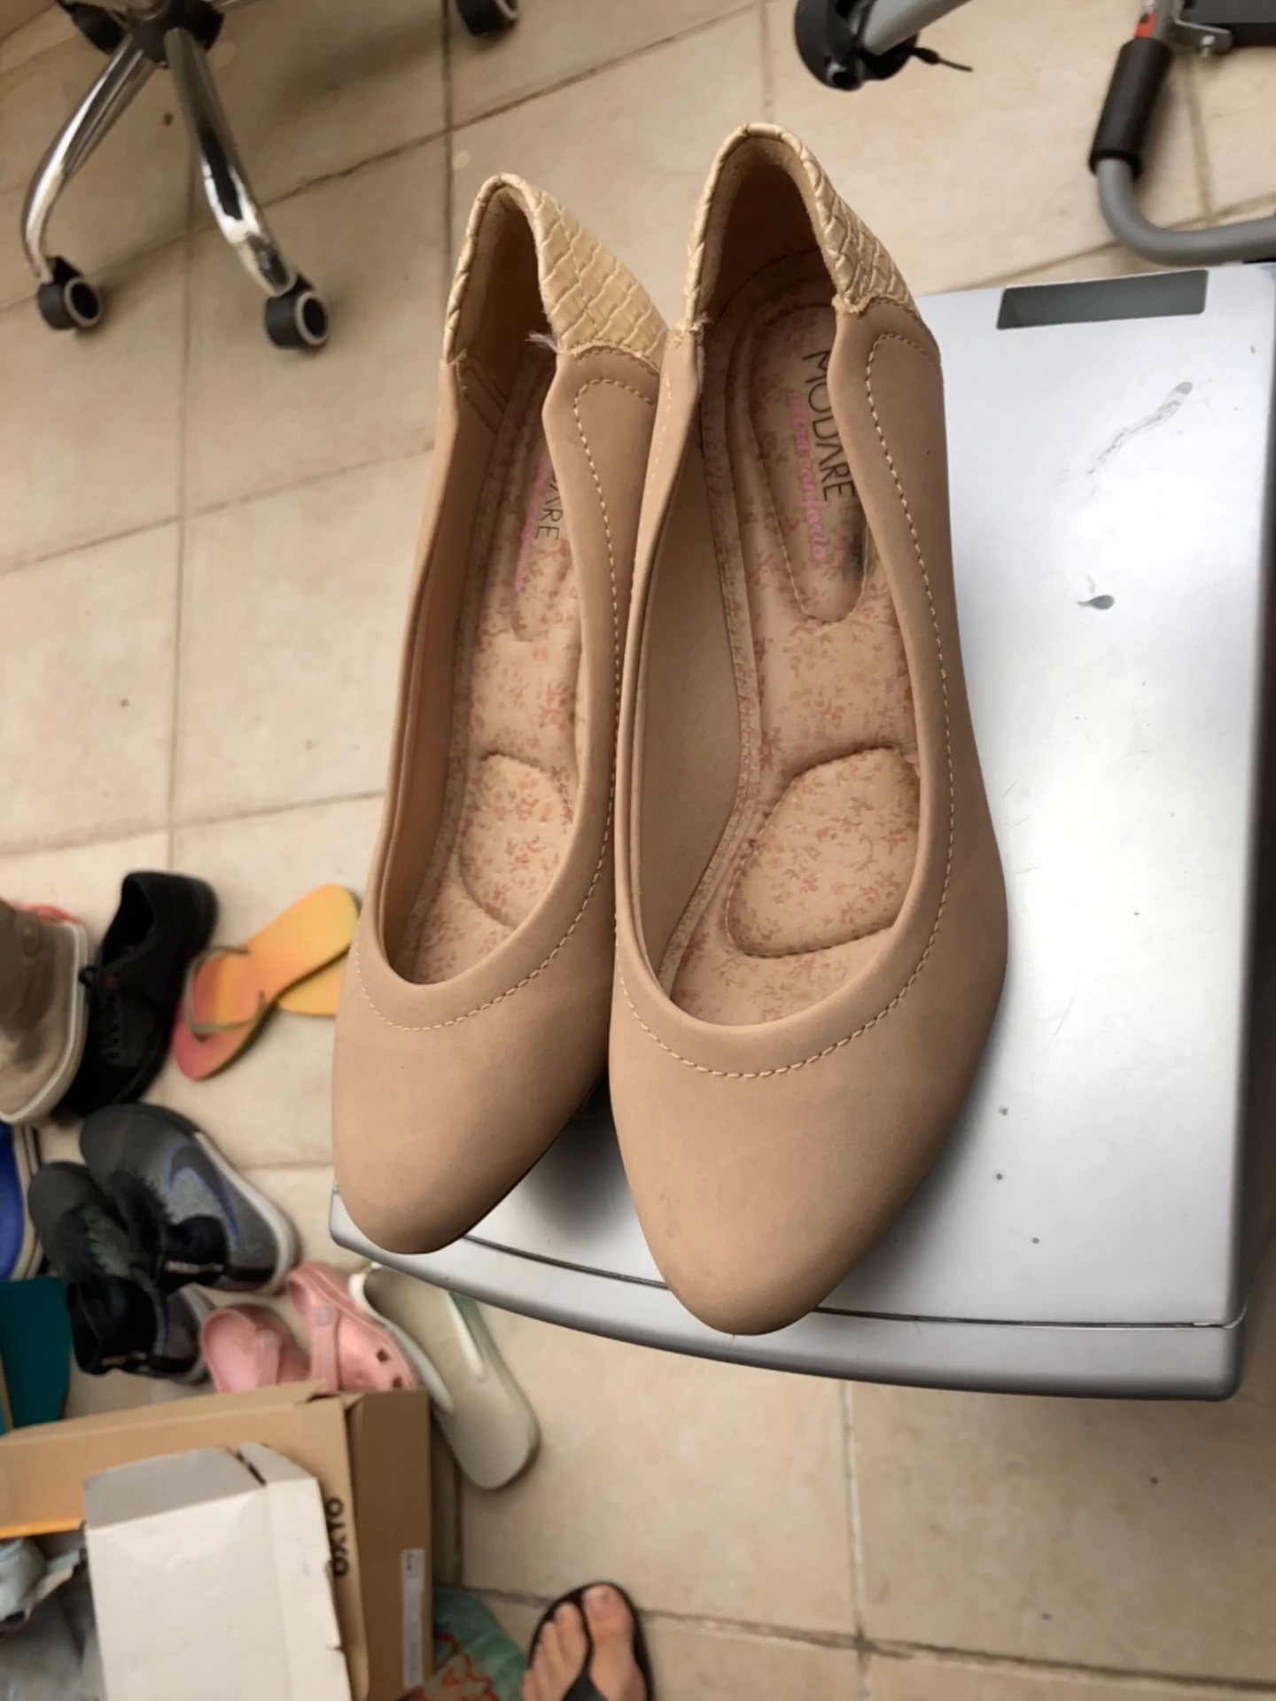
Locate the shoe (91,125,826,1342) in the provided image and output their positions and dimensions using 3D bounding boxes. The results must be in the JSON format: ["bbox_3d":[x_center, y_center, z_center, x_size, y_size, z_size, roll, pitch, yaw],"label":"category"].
[{"bbox_3d":[-0.033,-0.023,0.350,0.090,0.120,0.244,6,83,28],"label":"shoe"}]

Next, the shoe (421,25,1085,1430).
[{"bbox_3d":[0.037,-0.020,0.313,0.090,0.120,0.244,1,81,28],"label":"shoe"}]
